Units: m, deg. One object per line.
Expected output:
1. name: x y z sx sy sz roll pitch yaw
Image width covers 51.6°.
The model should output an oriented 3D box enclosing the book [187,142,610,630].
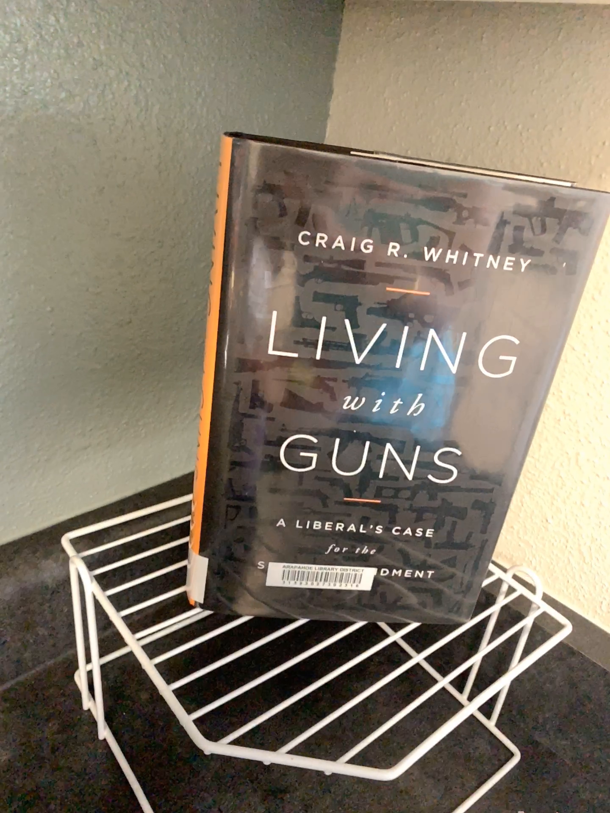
1. book: 0.034 0.002 0.313 0.171 0.229 0.040 4 22 -4
